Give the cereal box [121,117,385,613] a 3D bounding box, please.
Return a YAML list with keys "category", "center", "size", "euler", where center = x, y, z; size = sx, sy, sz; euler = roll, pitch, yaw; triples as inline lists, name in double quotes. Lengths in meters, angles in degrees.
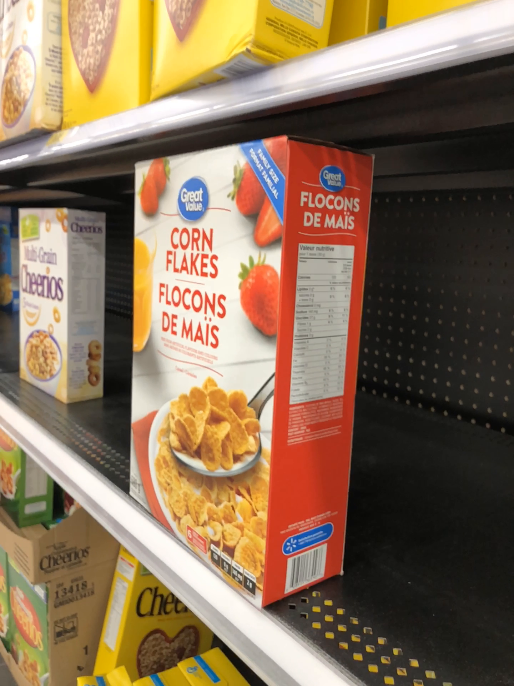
- category: "cereal box"
  center: [-0.025, 0.002, 0.492]
  size: [0.090, 0.329, 0.241]
  euler: [-5, 12, -37]
